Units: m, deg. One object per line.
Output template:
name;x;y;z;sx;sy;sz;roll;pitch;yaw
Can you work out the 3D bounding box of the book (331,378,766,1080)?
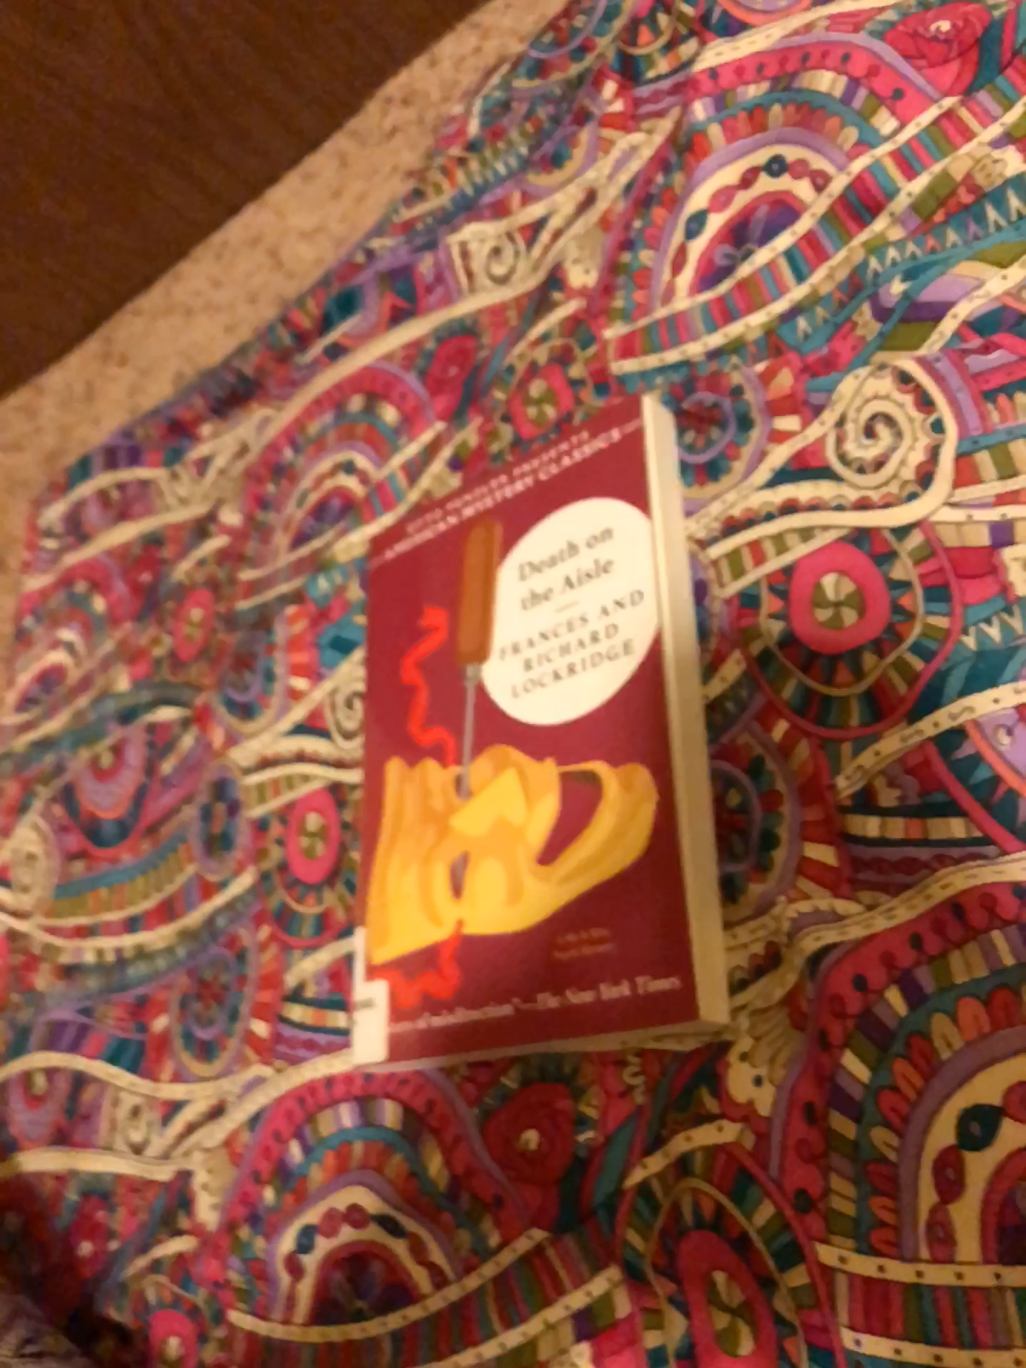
book;0.002;0.017;0.366;0.138;0.024;0.196;-20;60;35
